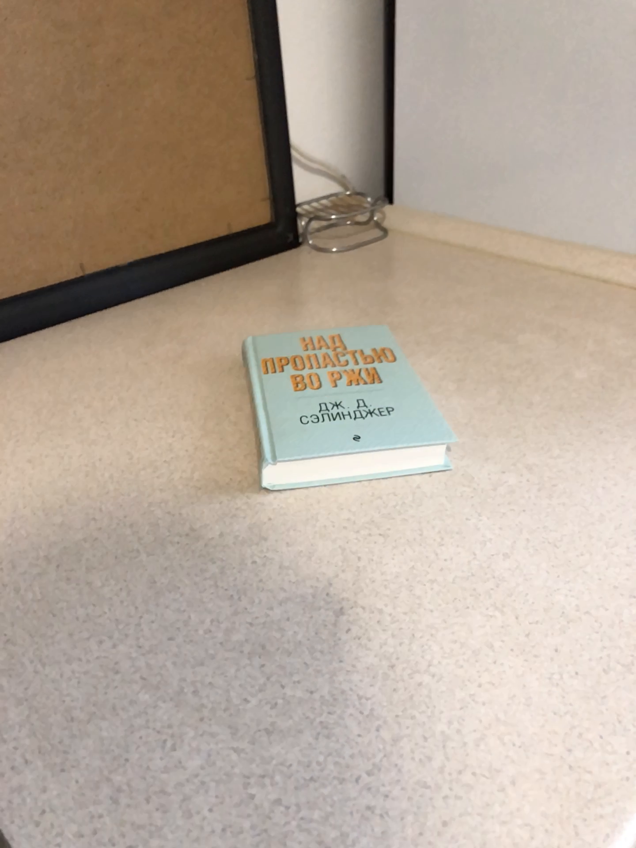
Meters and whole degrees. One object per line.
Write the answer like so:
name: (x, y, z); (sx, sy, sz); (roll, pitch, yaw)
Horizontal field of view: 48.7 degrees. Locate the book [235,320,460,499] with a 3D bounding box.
book: (0.008, -0.019, 0.463); (0.118, 0.020, 0.181); (-6, 31, -6)
